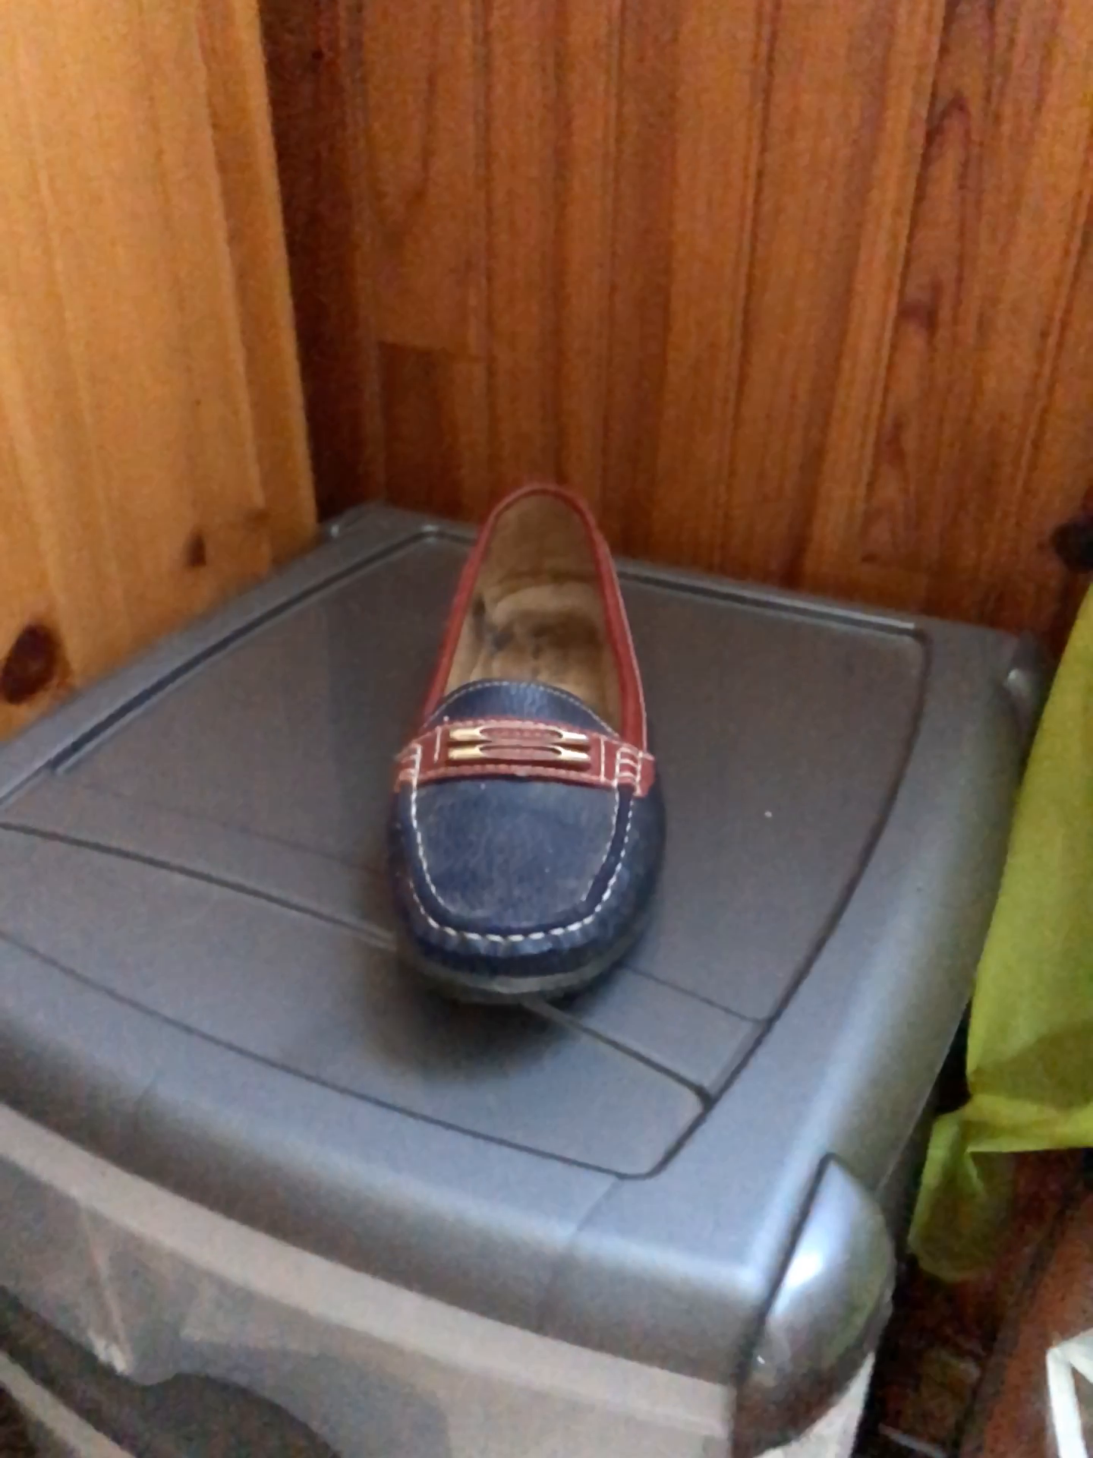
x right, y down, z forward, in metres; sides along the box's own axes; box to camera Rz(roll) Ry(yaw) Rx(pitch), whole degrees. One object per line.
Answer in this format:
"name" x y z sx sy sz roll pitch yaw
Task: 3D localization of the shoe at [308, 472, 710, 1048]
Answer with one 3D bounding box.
"shoe" -0.006 -0.011 0.431 0.100 0.070 0.262 1 32 1
